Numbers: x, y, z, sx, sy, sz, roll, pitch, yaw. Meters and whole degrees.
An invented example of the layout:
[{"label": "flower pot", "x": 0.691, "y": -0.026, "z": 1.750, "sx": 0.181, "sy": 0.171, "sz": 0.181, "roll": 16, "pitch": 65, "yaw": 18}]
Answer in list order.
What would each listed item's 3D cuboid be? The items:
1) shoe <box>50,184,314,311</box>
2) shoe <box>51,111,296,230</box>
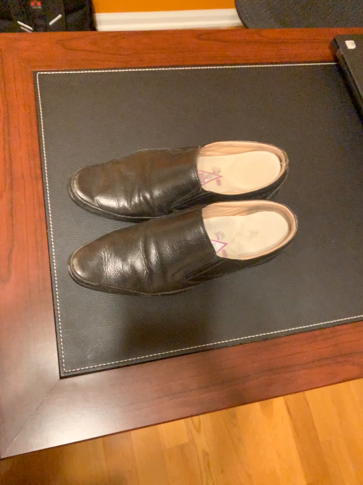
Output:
[{"label": "shoe", "x": 0.000, "y": 0.005, "z": 0.454, "sx": 0.284, "sy": 0.078, "sz": 0.106, "roll": -6, "pitch": 74, "yaw": -12}, {"label": "shoe", "x": -0.011, "y": -0.095, "z": 0.487, "sx": 0.284, "sy": 0.078, "sz": 0.110, "roll": -6, "pitch": 74, "yaw": -12}]
